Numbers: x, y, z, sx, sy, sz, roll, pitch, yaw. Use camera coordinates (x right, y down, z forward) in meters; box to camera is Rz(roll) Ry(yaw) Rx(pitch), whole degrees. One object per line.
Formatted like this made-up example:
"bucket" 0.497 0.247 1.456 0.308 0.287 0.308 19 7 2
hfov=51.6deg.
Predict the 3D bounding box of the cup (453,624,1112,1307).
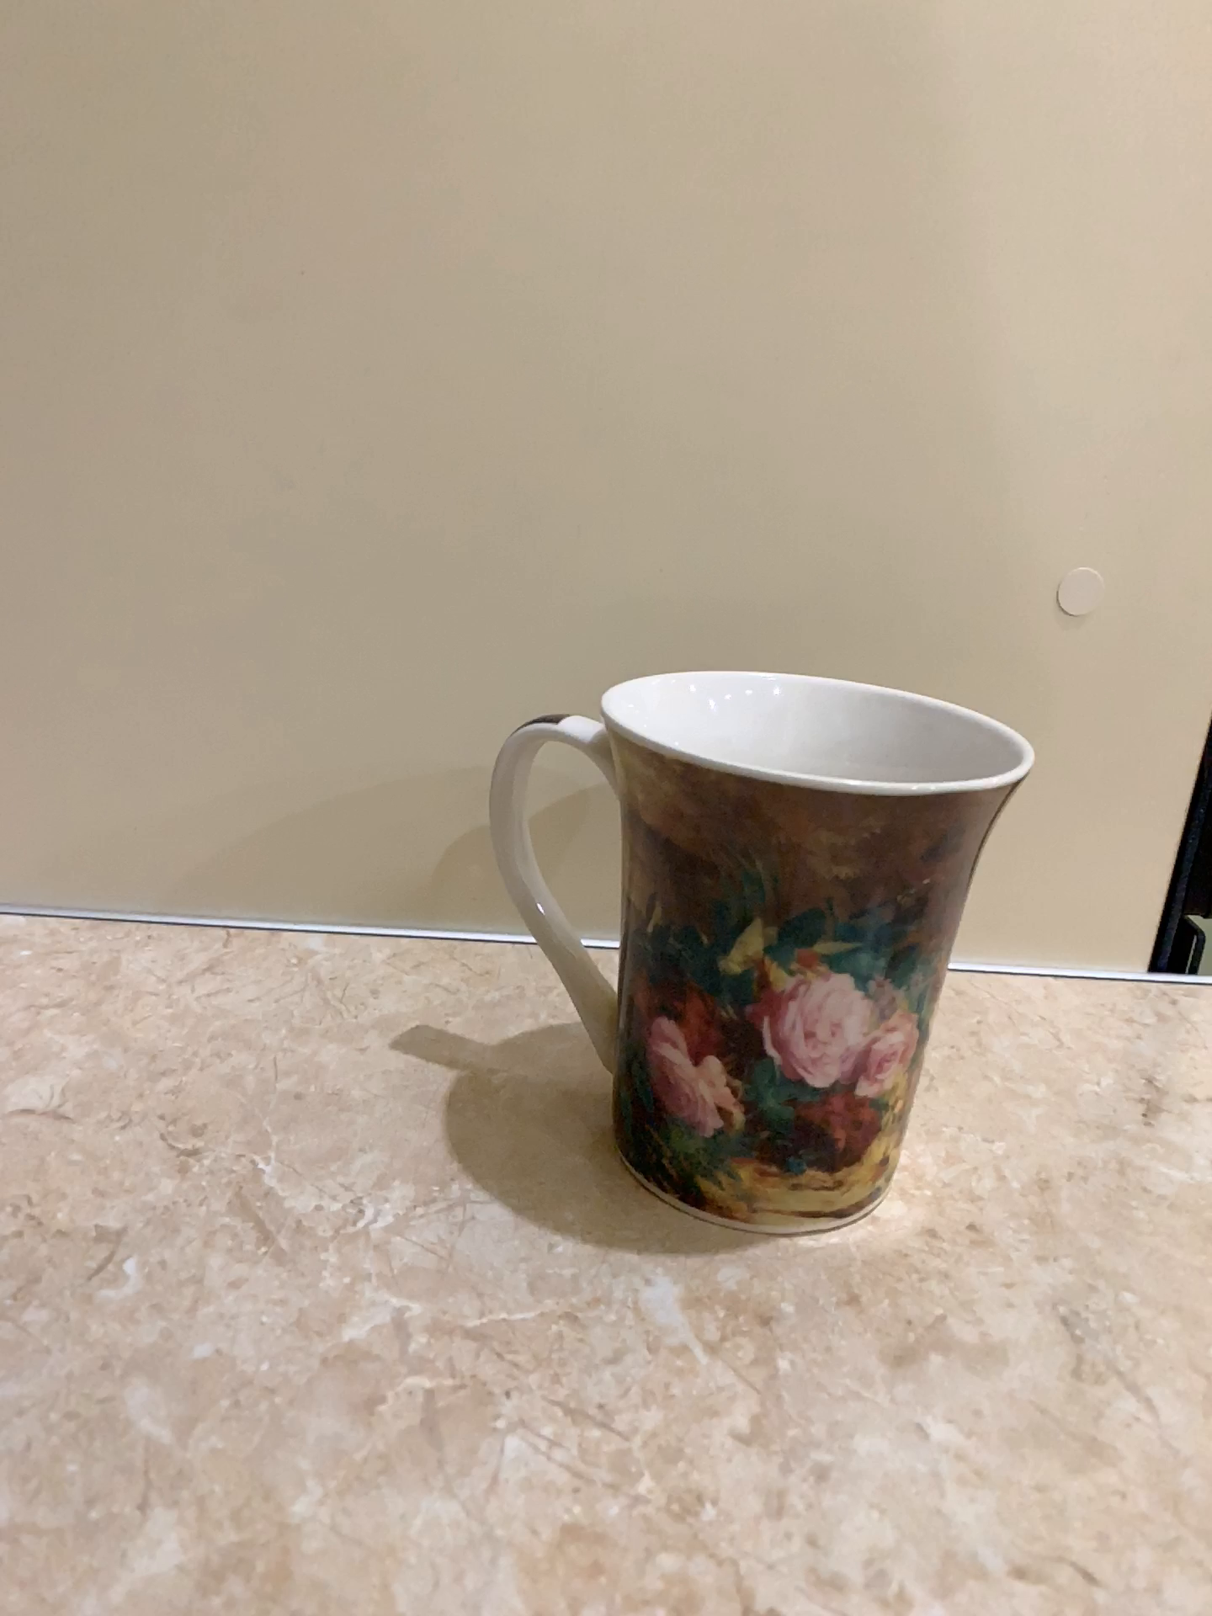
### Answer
"cup" 0.038 0.022 0.278 0.101 0.096 0.094 4 20 -2
